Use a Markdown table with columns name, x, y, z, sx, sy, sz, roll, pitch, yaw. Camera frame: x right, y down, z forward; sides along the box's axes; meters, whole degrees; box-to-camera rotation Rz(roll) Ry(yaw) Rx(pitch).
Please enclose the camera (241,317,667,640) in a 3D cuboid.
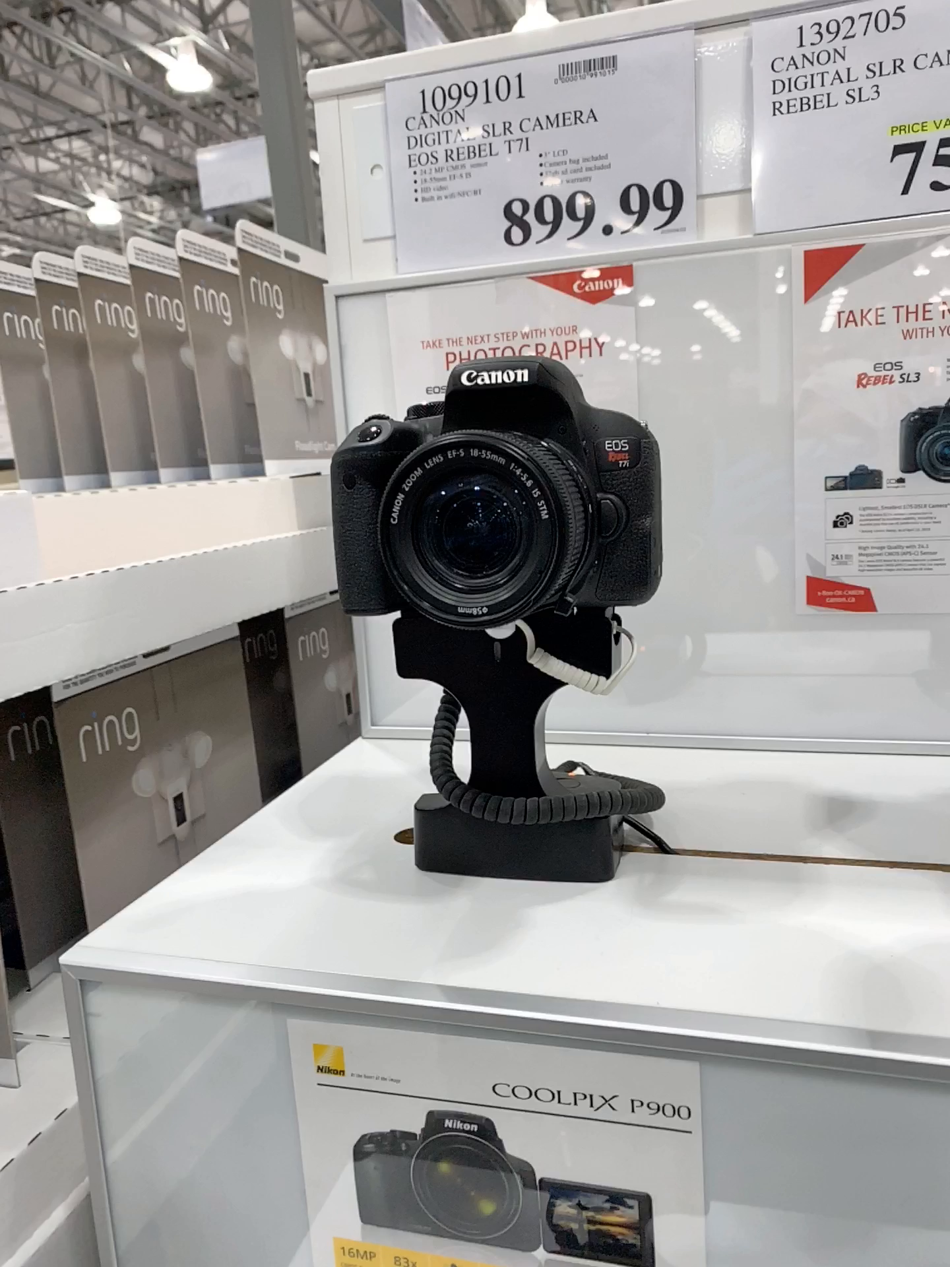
| name | x | y | z | sx | sy | sz | roll | pitch | yaw |
| --- | --- | --- | --- | --- | --- | --- | --- | --- | --- |
| camera | 0.003 | -0.059 | 0.383 | 0.132 | 0.096 | 0.130 | -2 | 10 | 14 |
